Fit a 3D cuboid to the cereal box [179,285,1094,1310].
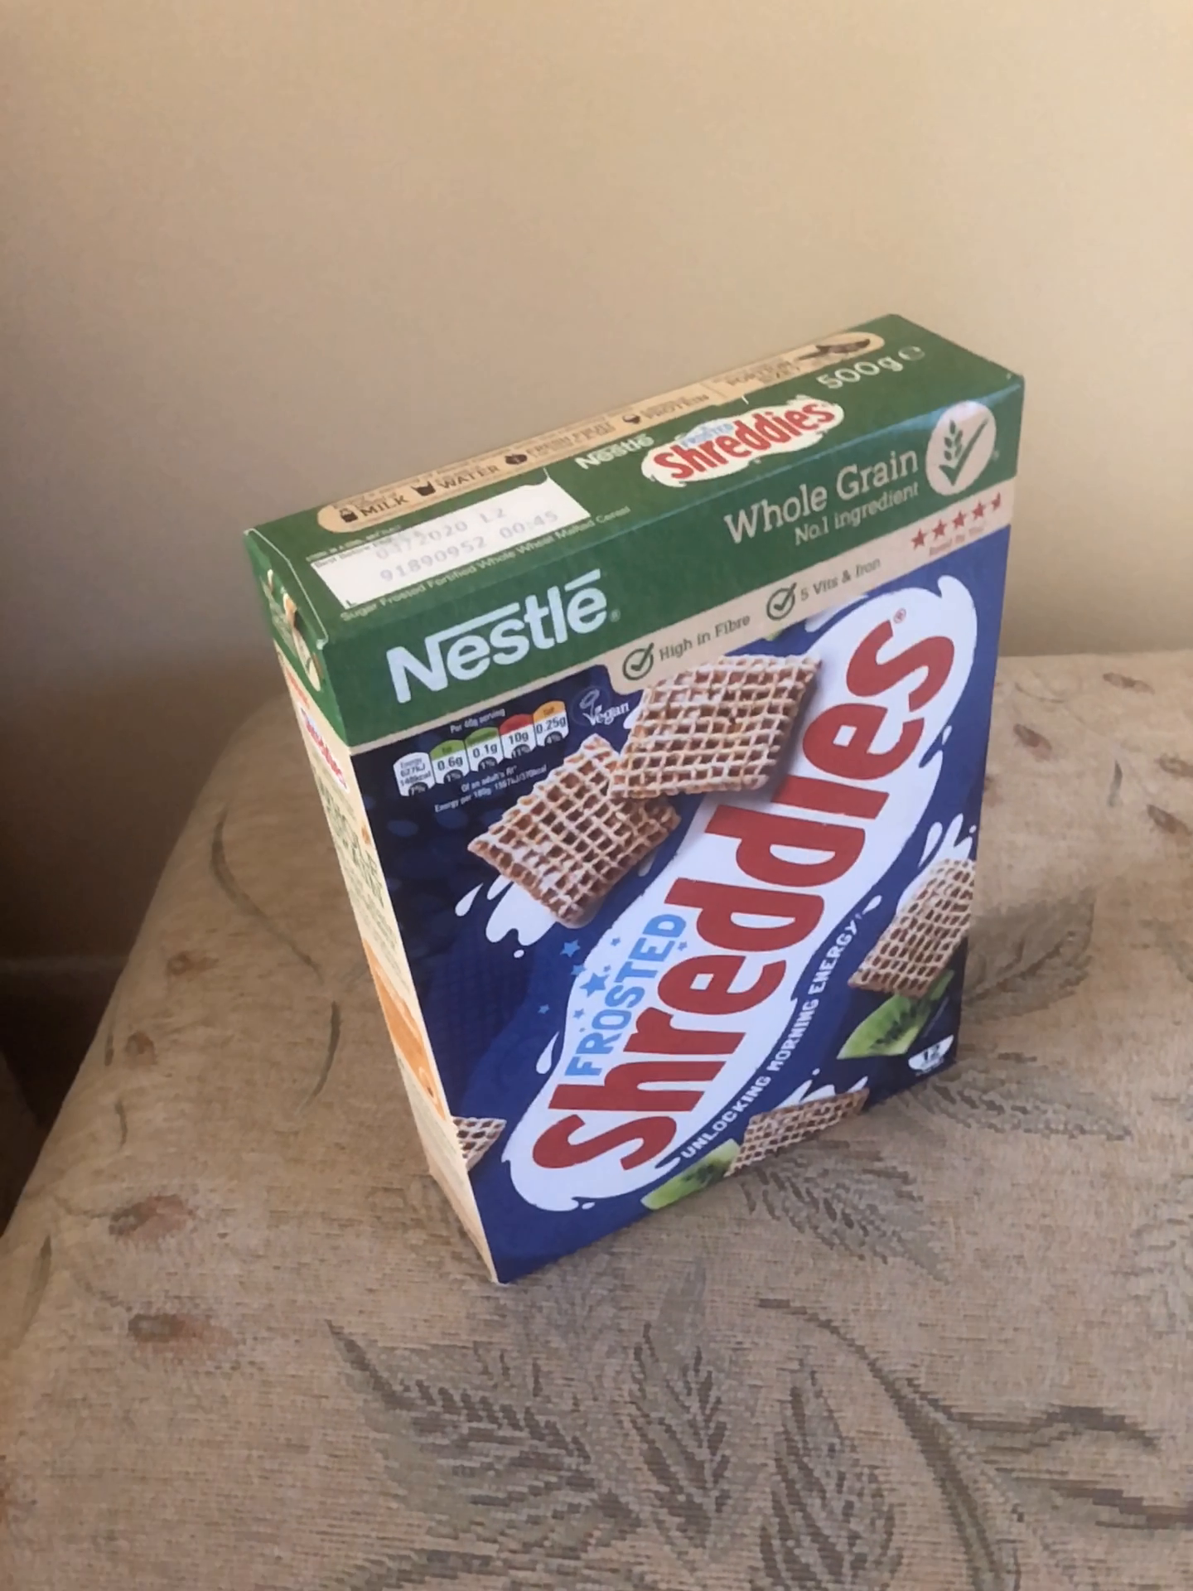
[{"bbox_3d":[0.023,0.016,0.383,0.200,0.258,0.060,-22,44,-16],"label":"cereal box"}]
